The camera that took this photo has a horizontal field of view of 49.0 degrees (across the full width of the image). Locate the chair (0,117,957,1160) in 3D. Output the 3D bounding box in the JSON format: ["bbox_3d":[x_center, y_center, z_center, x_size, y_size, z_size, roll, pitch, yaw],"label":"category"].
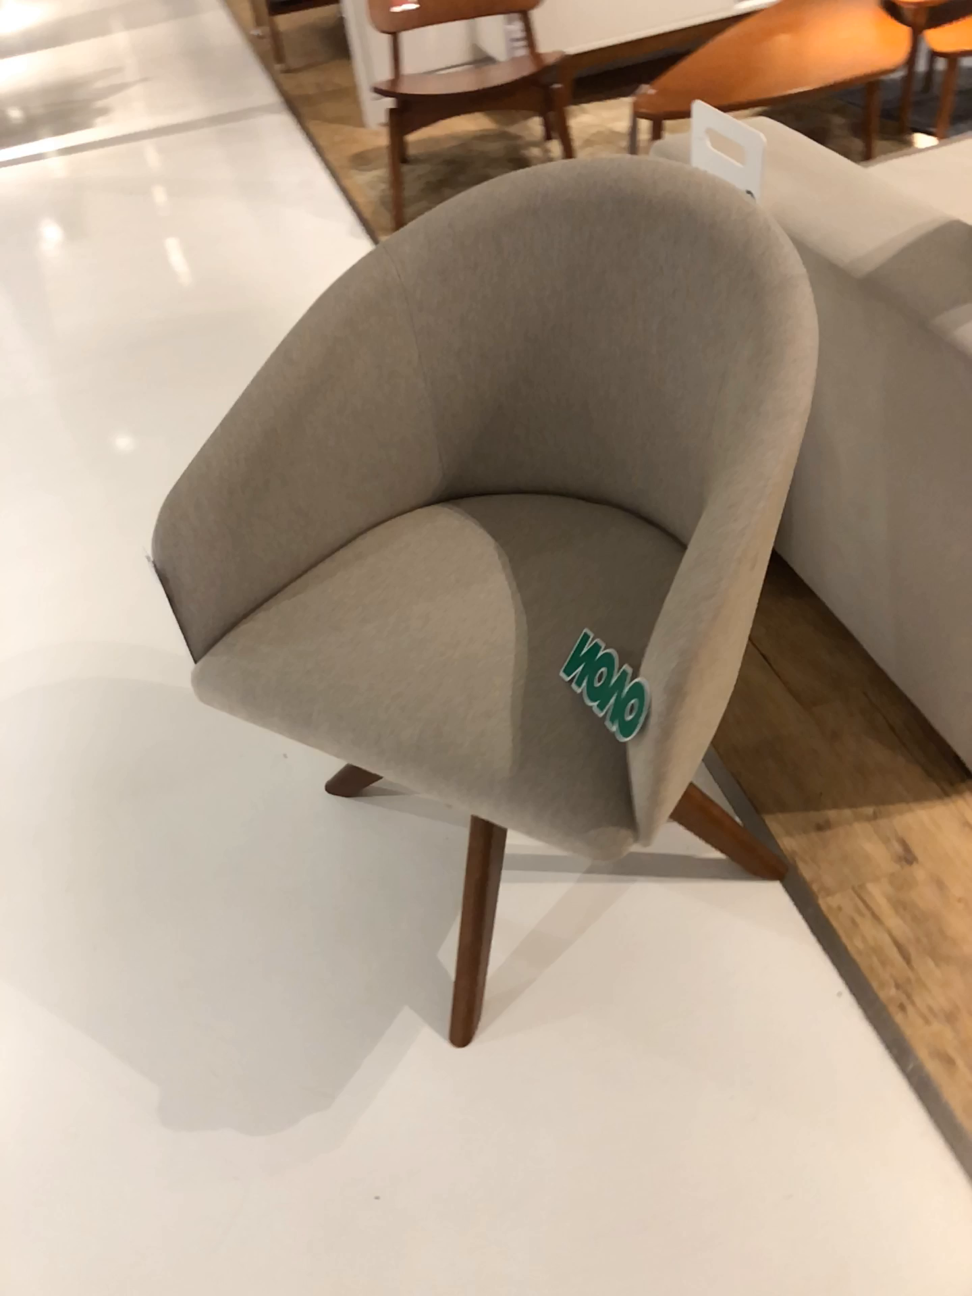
[{"bbox_3d":[0.028,-0.057,1.246,0.692,0.794,0.713,18,50,27],"label":"chair"}]
